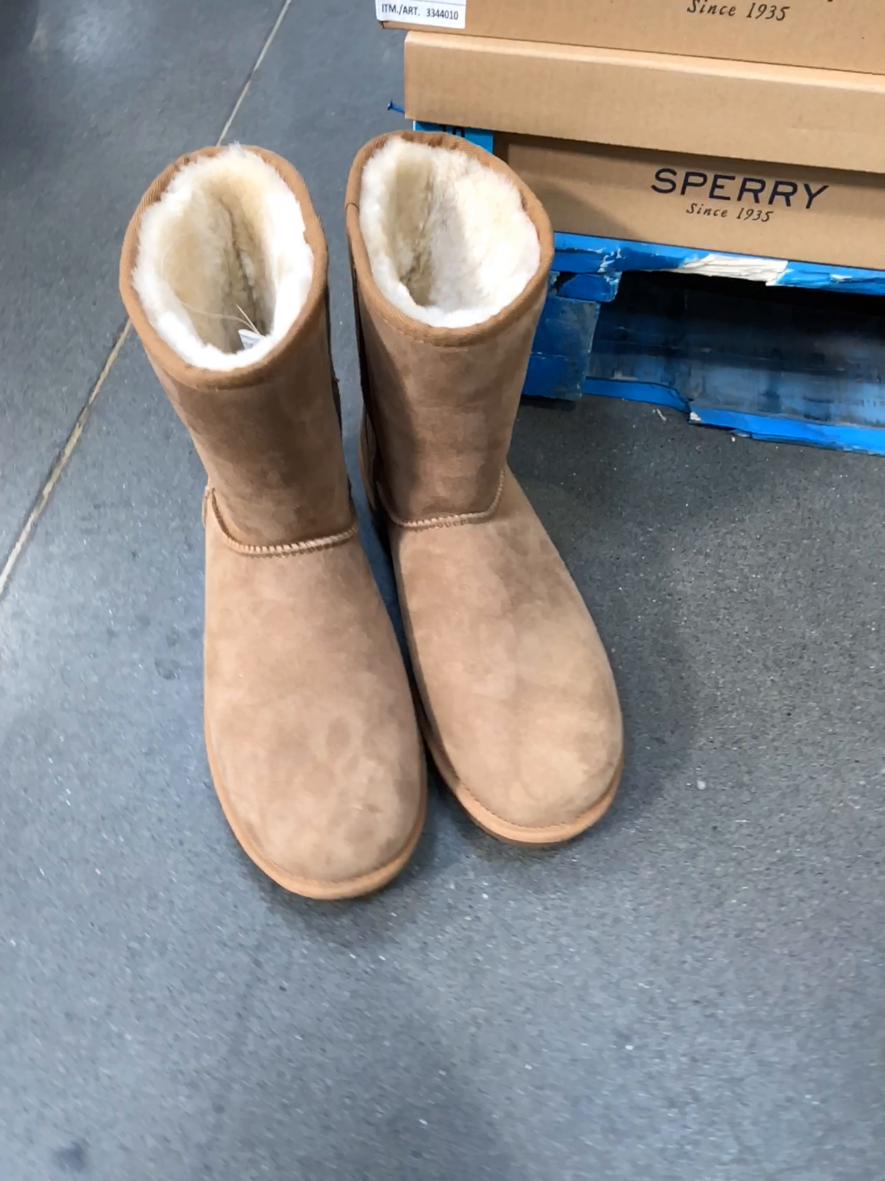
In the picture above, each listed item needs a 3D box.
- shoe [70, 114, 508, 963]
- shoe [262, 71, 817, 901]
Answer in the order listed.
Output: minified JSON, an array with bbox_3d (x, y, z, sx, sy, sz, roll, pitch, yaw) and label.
[{"bbox_3d":[-0.077,-0.018,0.485,0.130,0.259,0.311,-10,57,-7],"label":"shoe"},{"bbox_3d":[0.018,-0.046,0.502,0.130,0.259,0.311,-13,58,-9],"label":"shoe"}]
